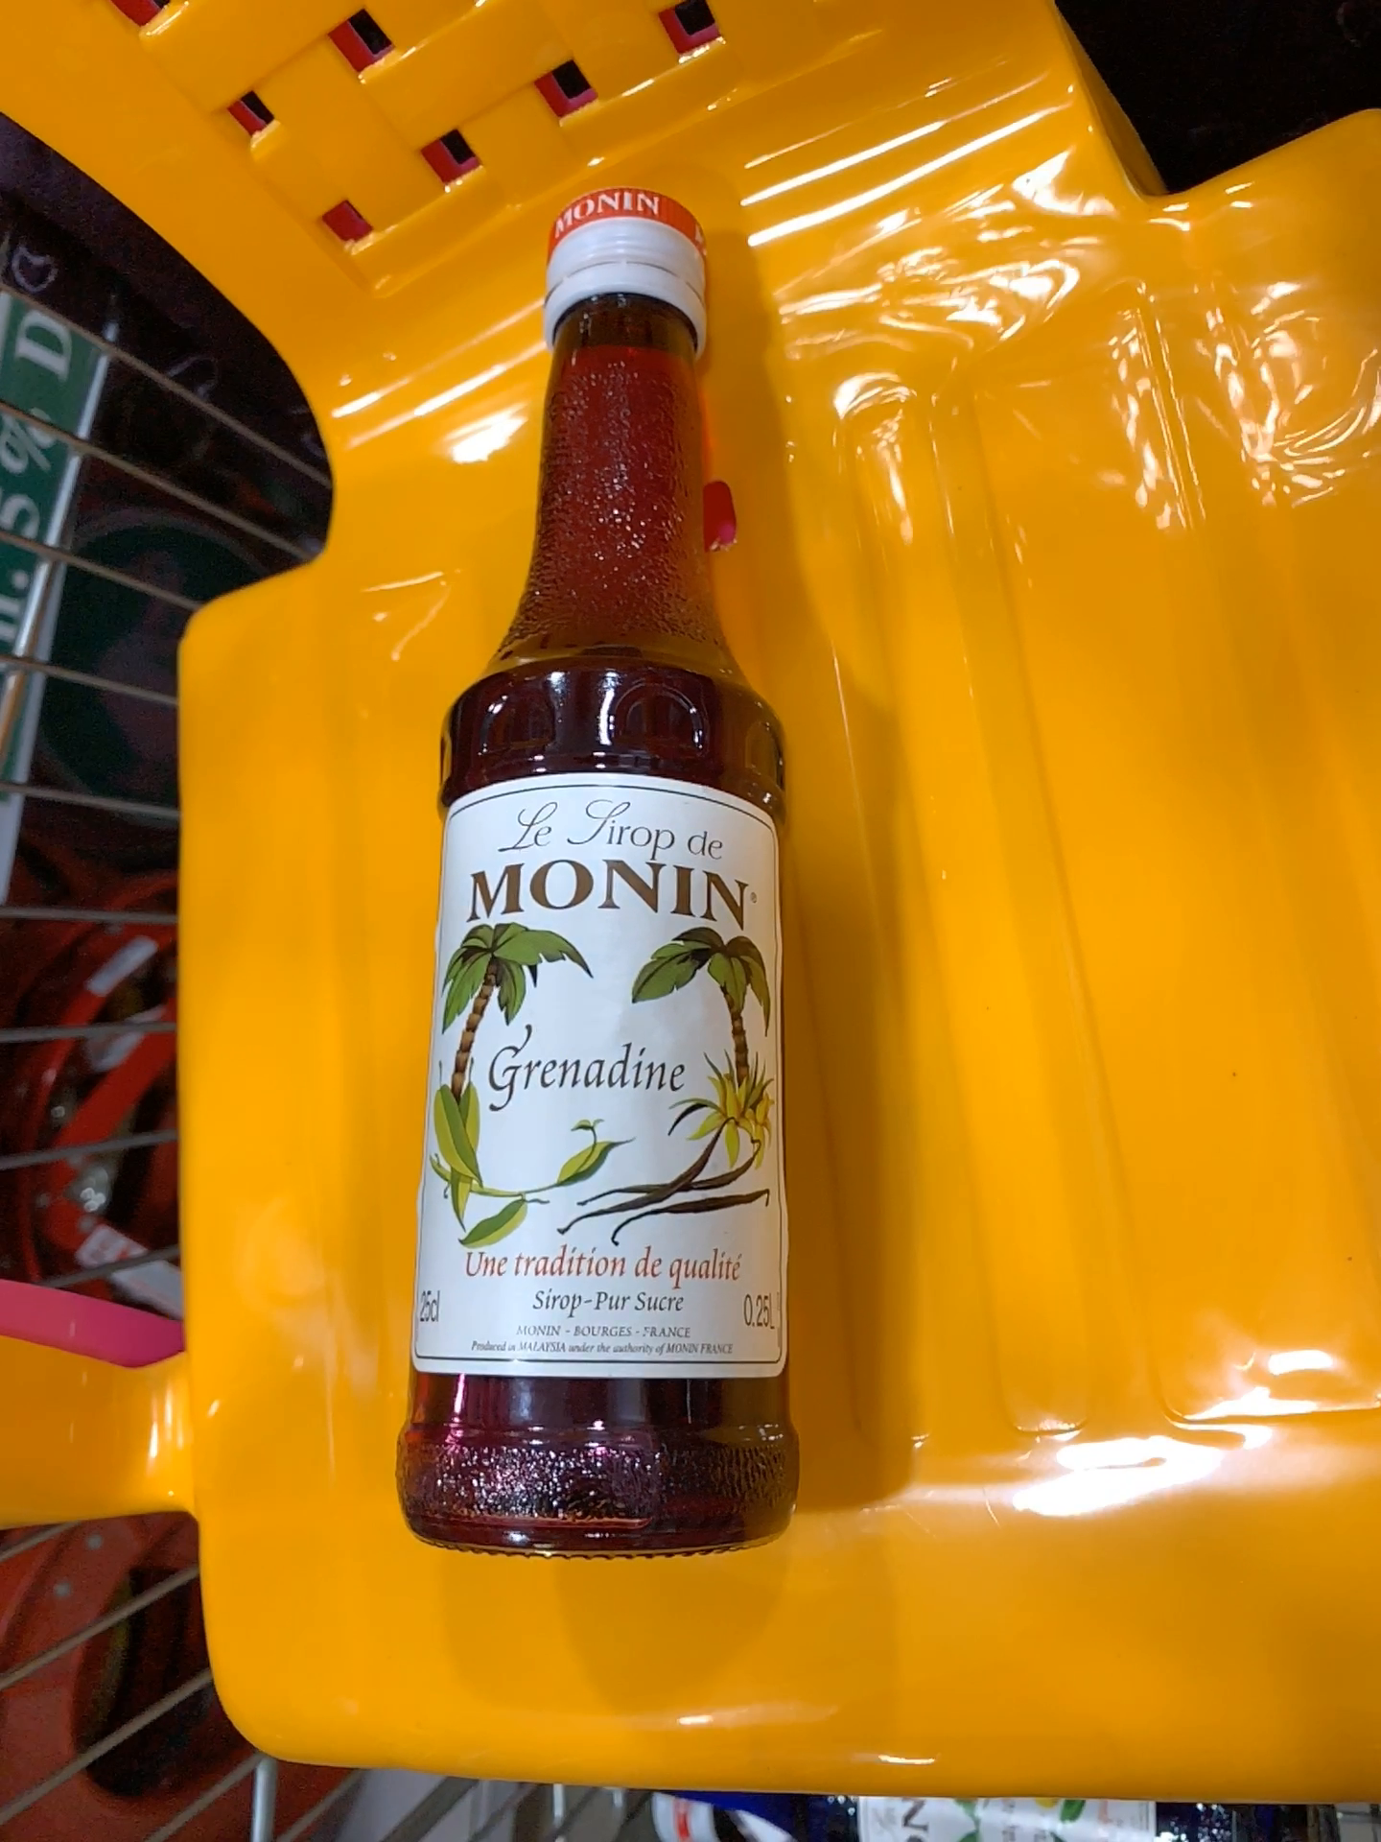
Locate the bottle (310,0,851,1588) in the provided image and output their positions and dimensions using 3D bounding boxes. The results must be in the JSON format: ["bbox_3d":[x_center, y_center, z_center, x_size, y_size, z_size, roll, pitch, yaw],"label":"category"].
[{"bbox_3d":[-0.013,-0.033,0.219,0.060,0.050,0.240,3,73,-6],"label":"bottle"}]
